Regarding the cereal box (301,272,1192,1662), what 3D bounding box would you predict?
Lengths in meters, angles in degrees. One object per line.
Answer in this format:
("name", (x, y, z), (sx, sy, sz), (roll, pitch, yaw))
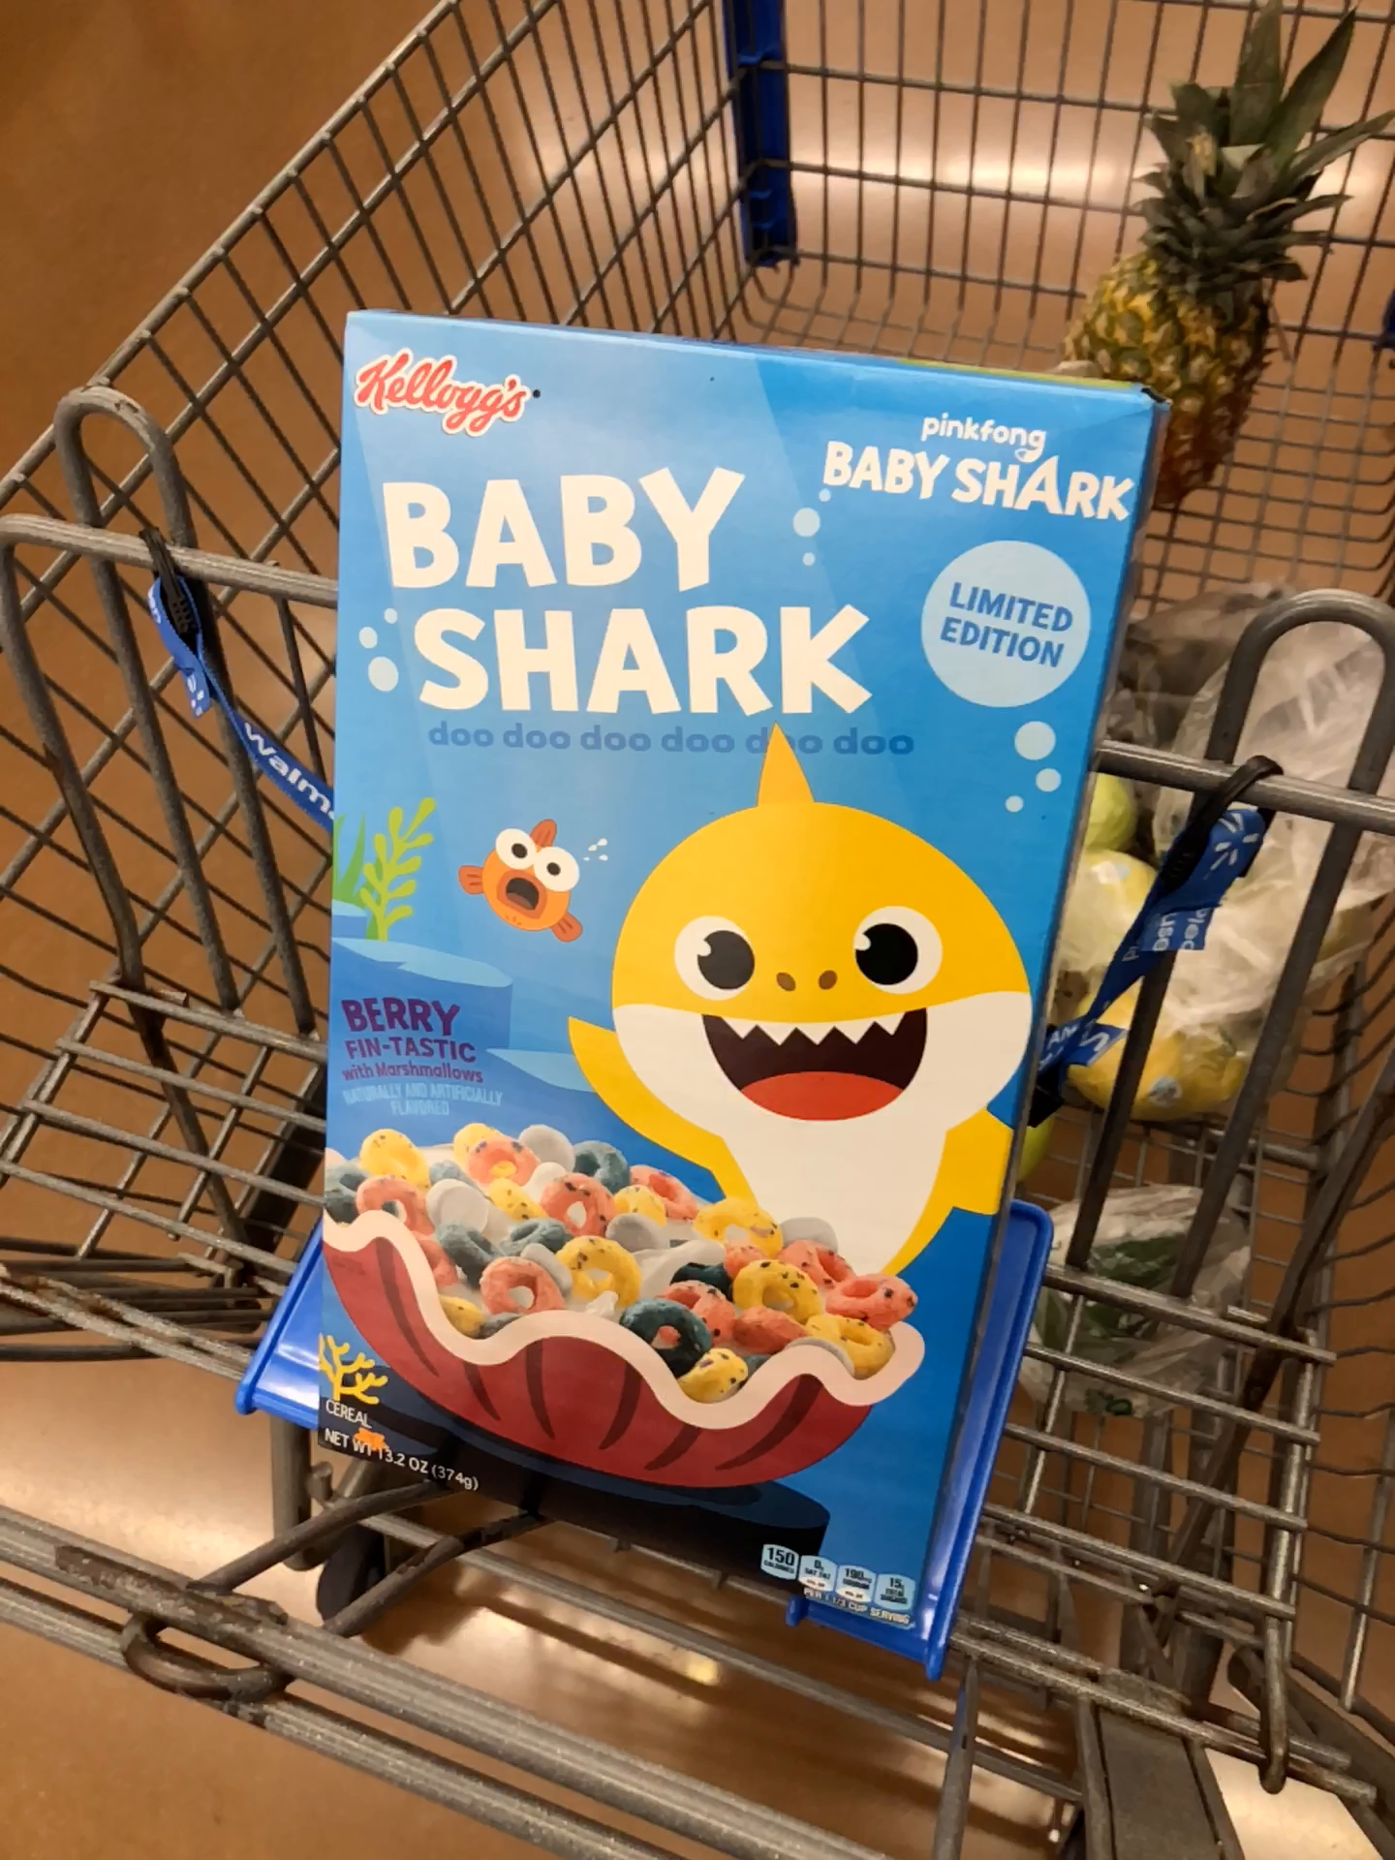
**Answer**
("cereal box", (-0.003, 0.016, 0.422), (0.190, 0.340, 0.070), (13, 23, 14))
